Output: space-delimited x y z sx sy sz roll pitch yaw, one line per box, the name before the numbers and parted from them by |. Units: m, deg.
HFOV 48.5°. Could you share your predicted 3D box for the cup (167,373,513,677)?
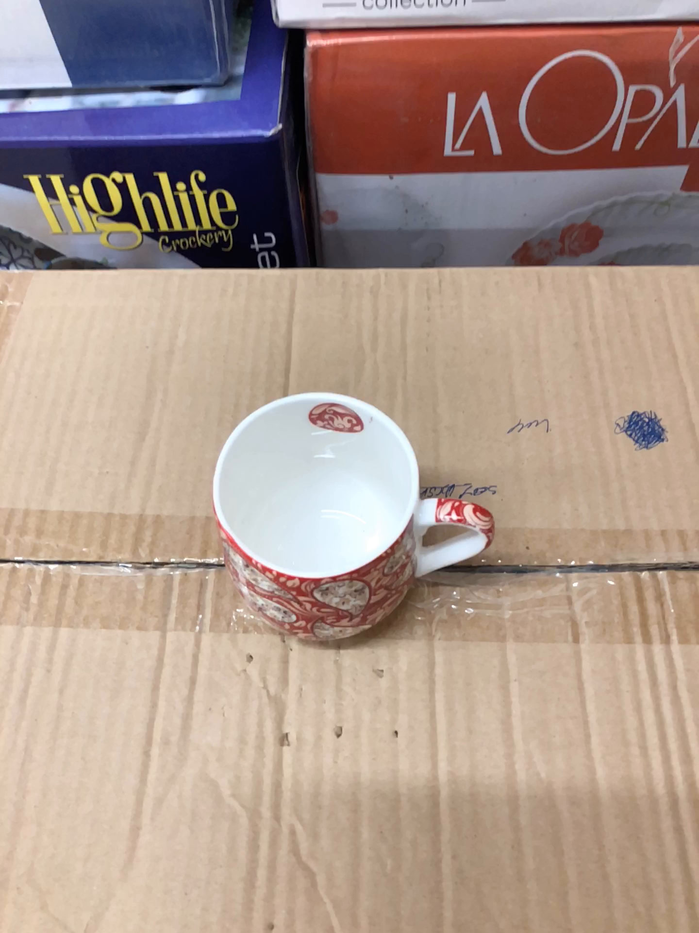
cup | -0.003 0.019 0.246 0.090 0.060 0.070 -4 57 -1
